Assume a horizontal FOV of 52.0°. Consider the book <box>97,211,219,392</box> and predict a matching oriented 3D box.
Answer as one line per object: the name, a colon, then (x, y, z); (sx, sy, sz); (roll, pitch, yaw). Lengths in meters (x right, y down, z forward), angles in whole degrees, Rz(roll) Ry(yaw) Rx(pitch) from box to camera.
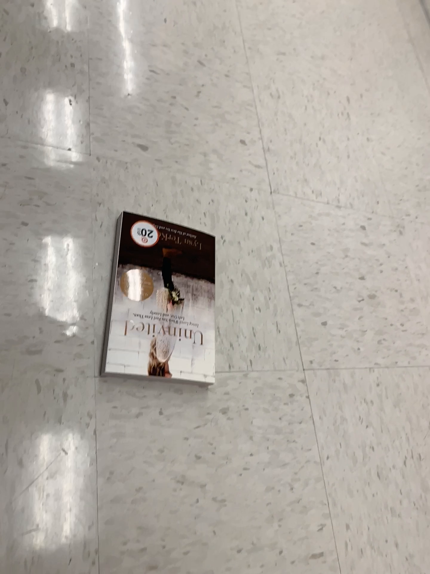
book: (-0.065, 0.018, 0.556); (0.140, 0.030, 0.210); (11, 64, -25)
